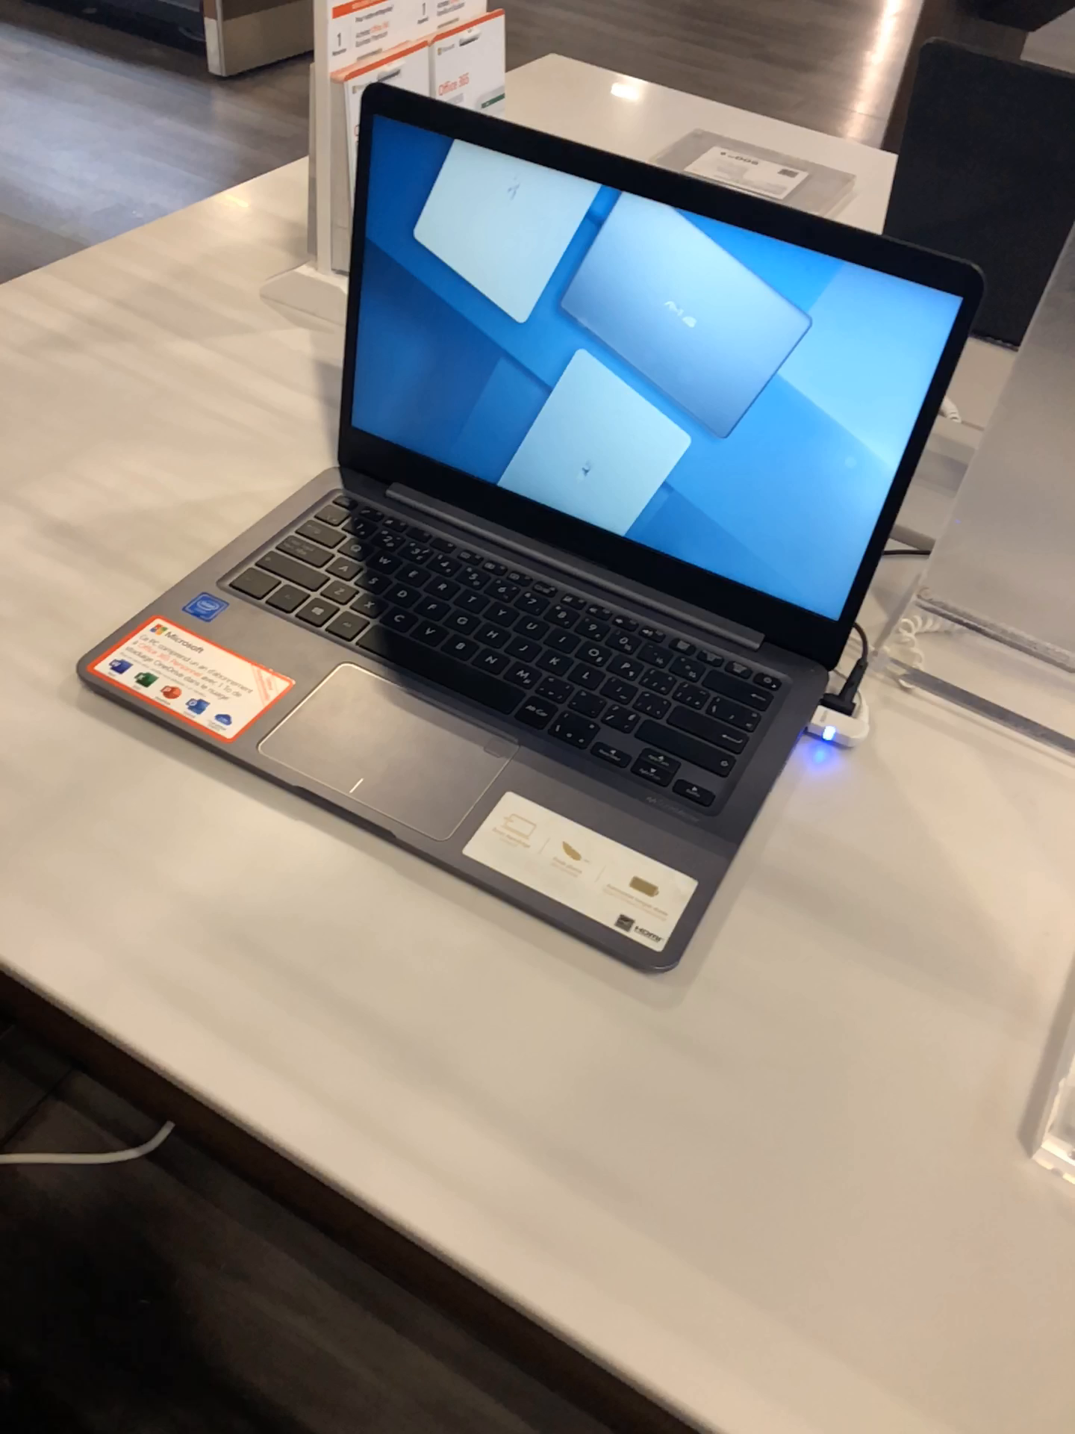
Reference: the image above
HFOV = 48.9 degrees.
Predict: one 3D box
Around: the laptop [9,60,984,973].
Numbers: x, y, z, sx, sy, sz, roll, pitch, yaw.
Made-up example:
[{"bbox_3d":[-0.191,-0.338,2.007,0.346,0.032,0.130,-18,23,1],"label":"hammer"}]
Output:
[{"bbox_3d":[-0.007,-0.124,0.577,0.333,0.180,0.301,24,51,14],"label":"laptop"}]
